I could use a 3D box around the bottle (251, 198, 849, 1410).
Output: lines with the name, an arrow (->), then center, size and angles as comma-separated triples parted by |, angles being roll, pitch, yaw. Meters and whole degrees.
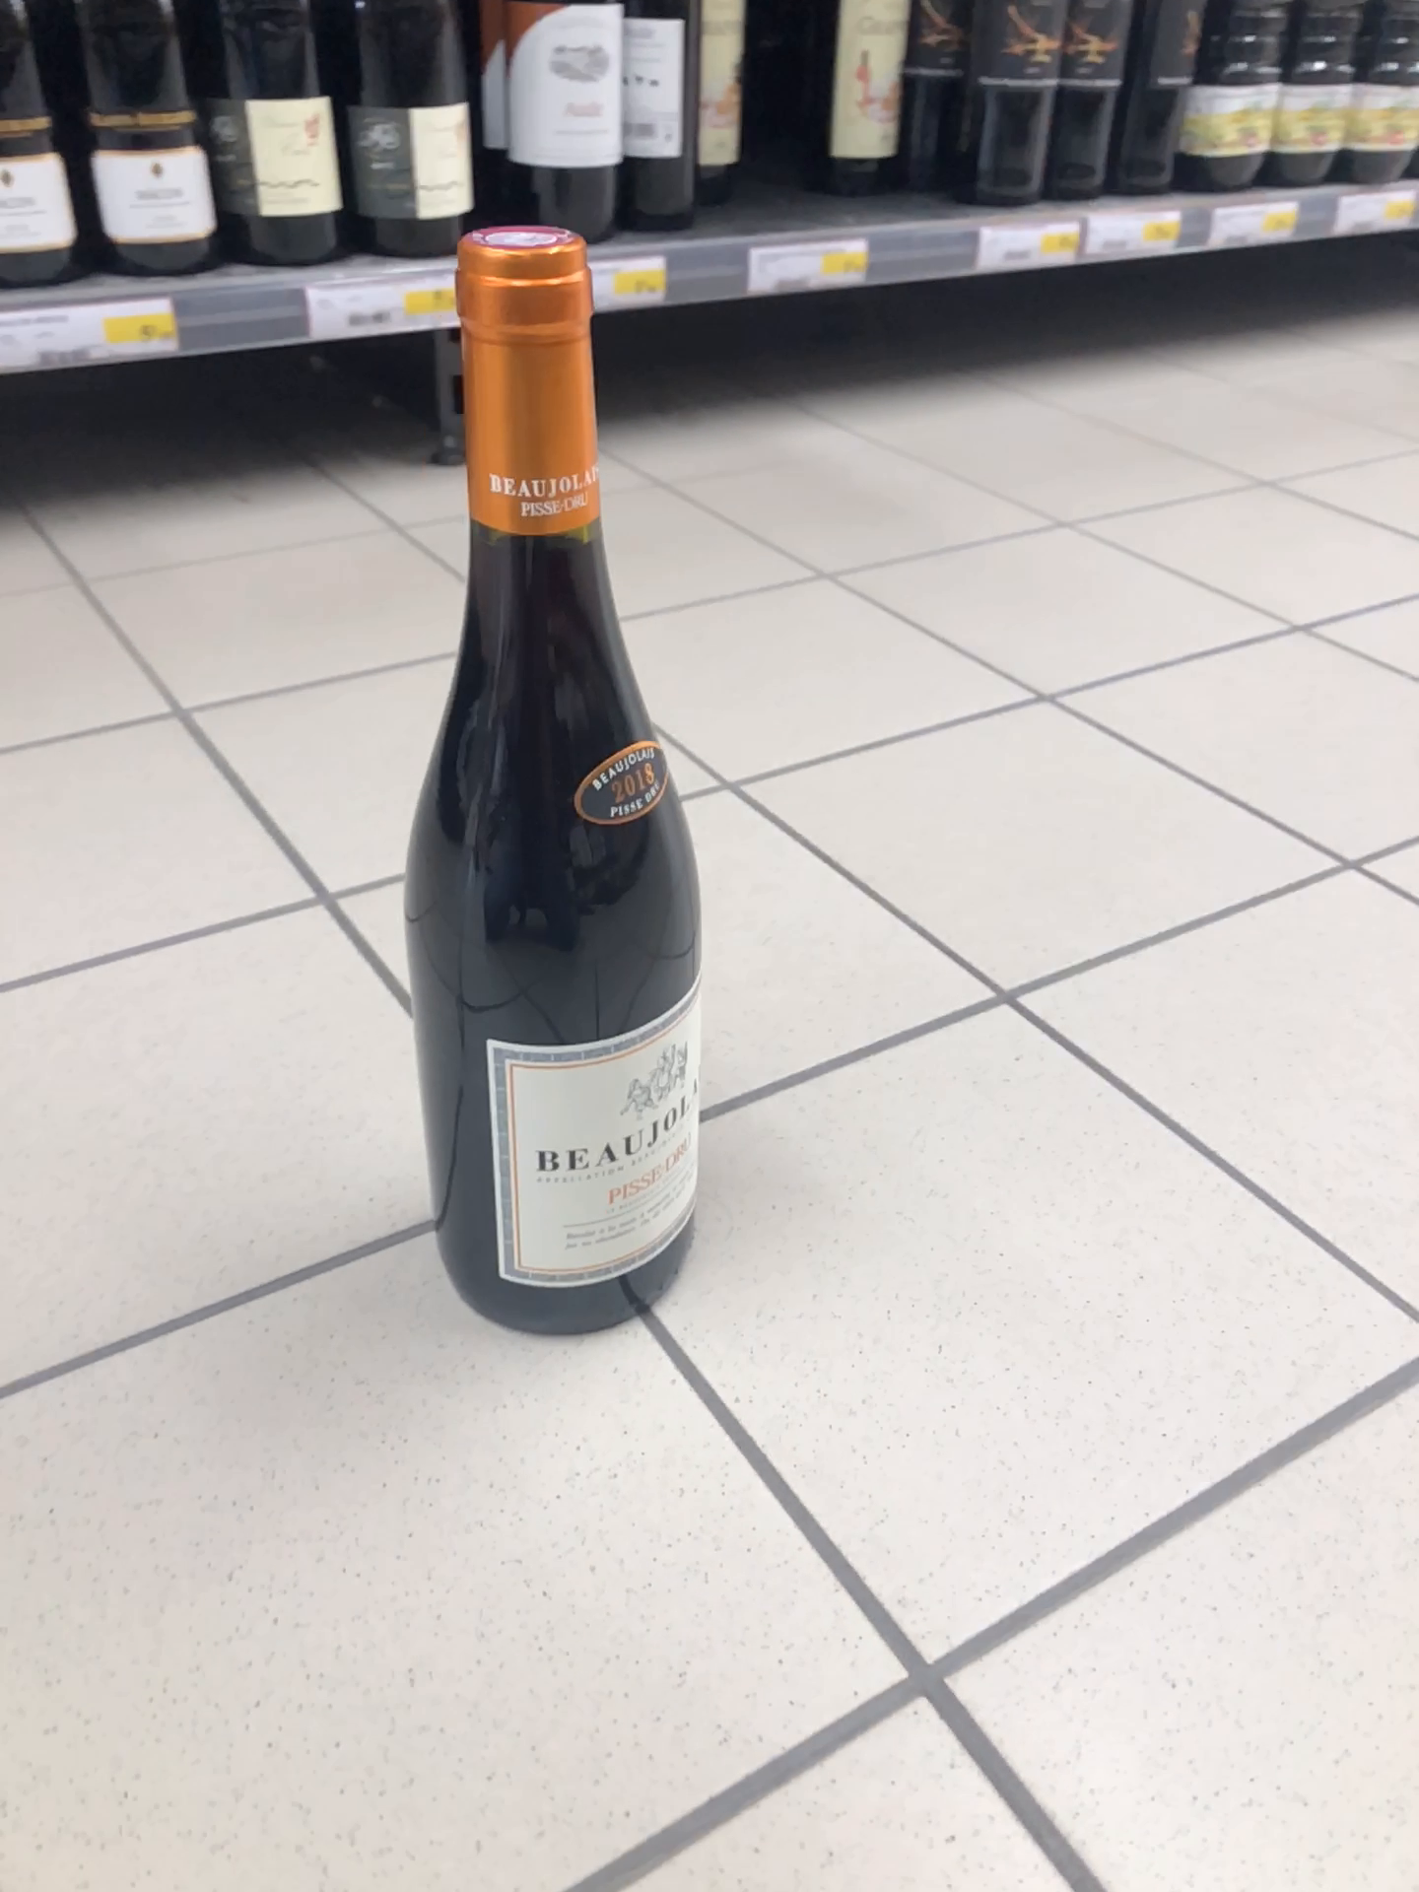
bottle -> -0.038, -0.028, 0.408 | 0.090, 0.288, 0.090 | 1, 33, -1
